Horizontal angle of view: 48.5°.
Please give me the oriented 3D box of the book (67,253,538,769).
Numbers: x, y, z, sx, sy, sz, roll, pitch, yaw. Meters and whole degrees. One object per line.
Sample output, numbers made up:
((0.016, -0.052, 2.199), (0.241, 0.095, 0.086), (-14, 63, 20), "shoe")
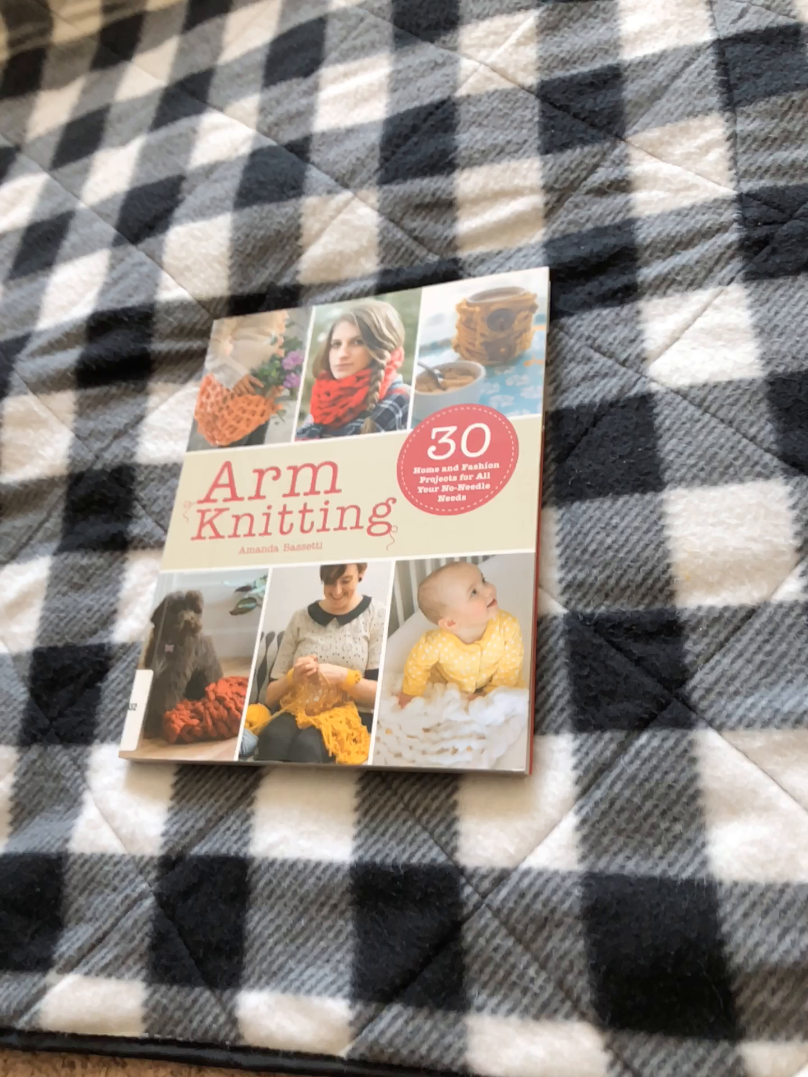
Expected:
((-0.042, -0.019, 0.421), (0.196, 0.020, 0.238), (-3, 64, 22), "book")
